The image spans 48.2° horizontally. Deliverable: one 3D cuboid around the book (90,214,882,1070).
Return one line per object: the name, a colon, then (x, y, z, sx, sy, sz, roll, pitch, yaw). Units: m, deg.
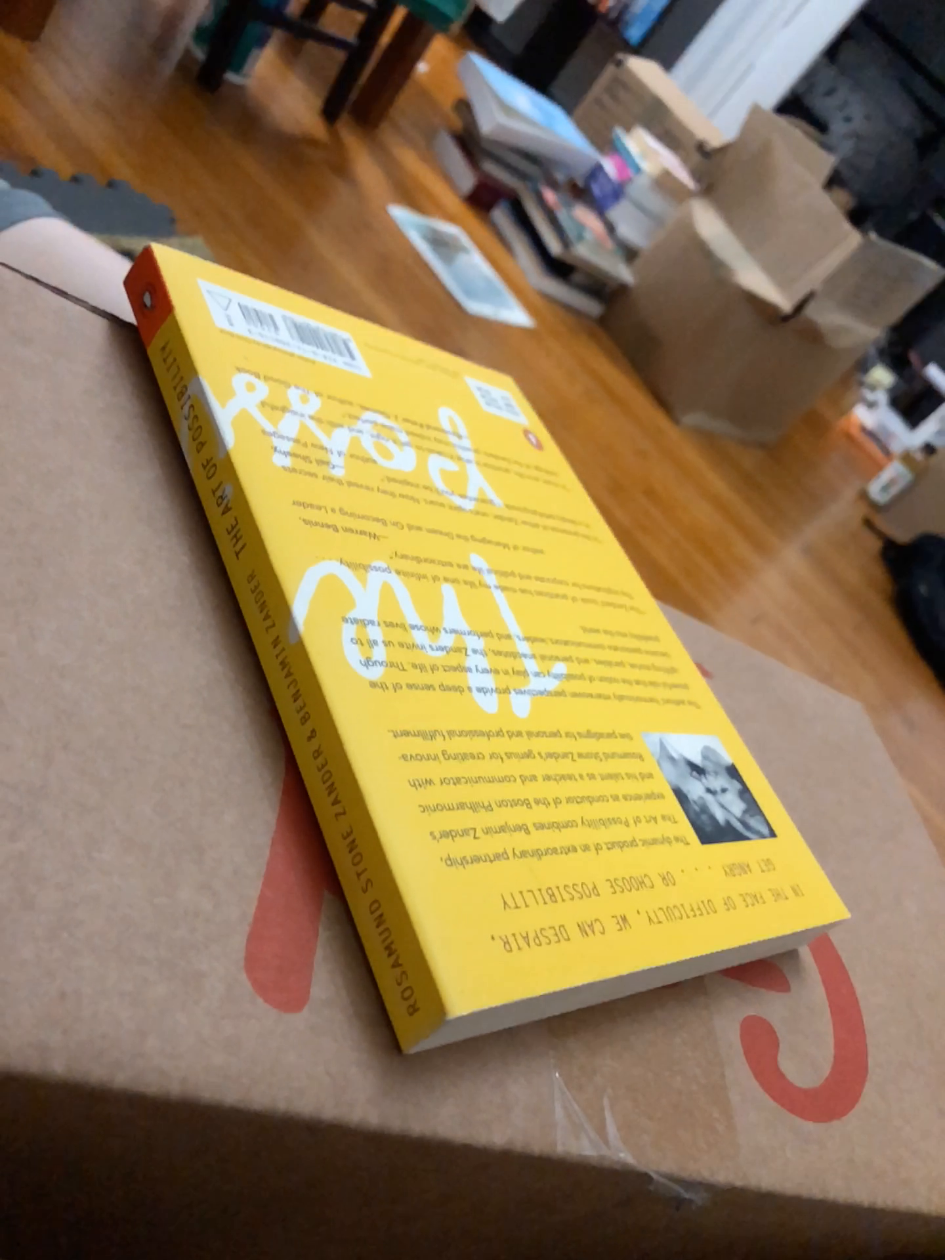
book: (0.002, -0.011, 0.270, 0.151, 0.020, 0.210, 6, 46, -44)
